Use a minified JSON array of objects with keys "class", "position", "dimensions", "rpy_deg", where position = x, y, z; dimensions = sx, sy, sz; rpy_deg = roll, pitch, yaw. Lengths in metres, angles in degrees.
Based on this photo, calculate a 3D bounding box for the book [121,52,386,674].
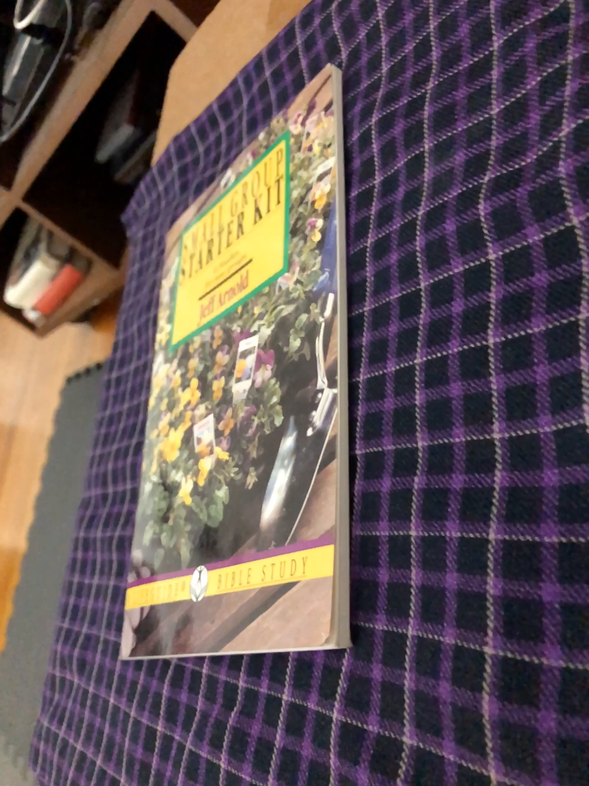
[{"class":"book","position":[-0.022,-0.006,0.269],"dimensions":[0.150,0.010,0.220],"rpy_deg":[-28,53,48]}]
